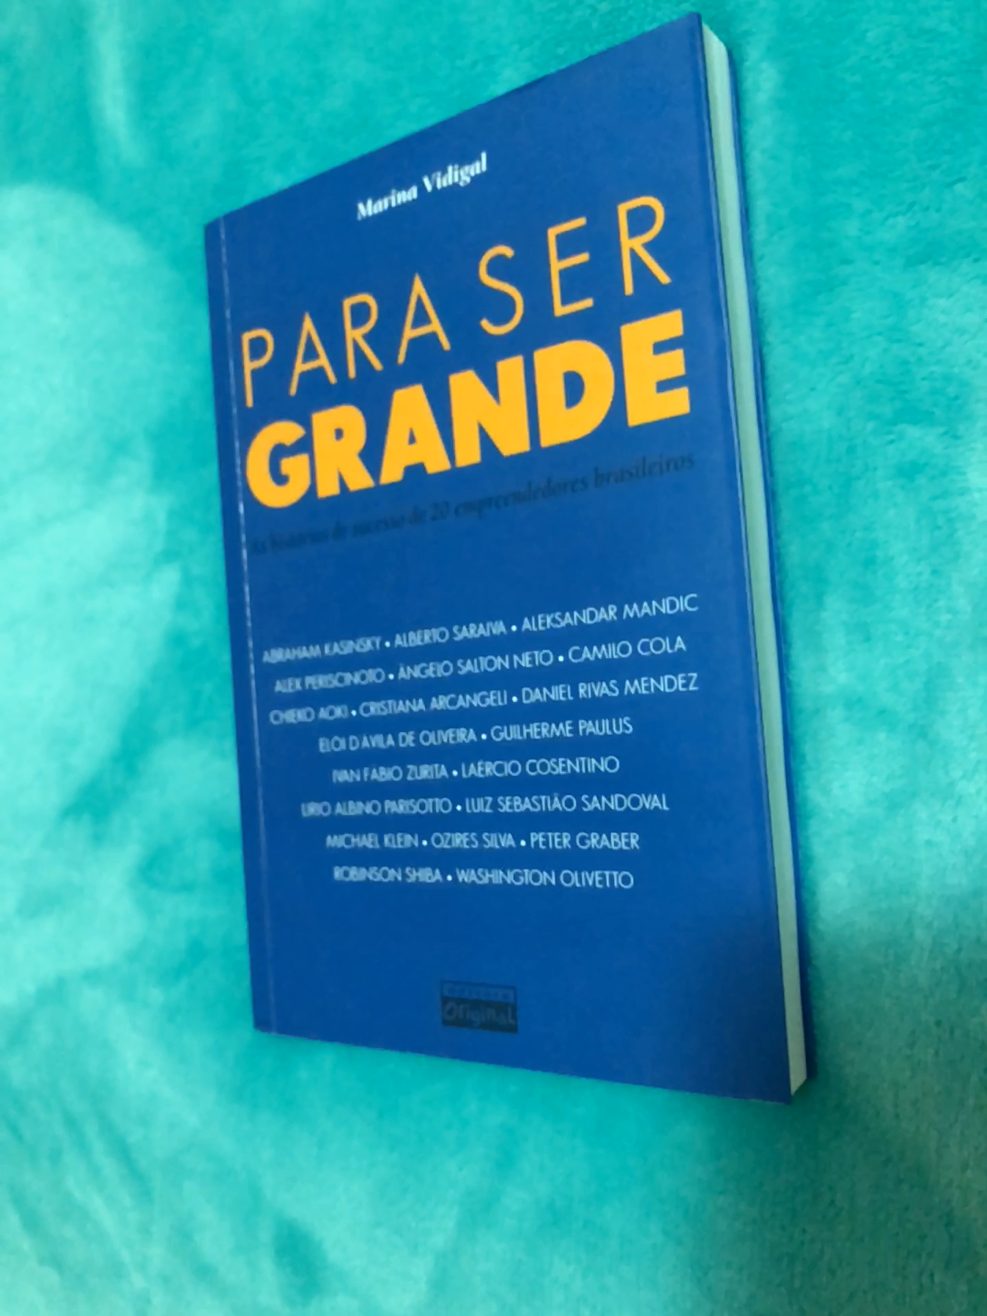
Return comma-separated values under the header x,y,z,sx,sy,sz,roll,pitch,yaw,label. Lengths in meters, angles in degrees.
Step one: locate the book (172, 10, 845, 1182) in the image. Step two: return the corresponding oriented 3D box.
x,y,z,sx,sy,sz,roll,pitch,yaw,label
-0.006,-0.008,0.240,0.141,0.030,0.200,-5,89,35,book
